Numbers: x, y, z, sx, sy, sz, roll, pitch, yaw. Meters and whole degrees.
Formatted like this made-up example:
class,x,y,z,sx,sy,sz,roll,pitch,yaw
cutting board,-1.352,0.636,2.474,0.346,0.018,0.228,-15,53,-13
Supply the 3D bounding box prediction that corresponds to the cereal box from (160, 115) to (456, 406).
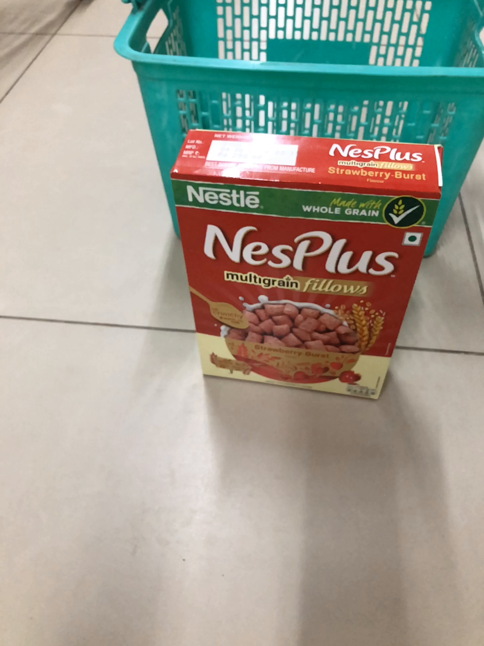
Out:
class,x,y,z,sx,sy,sz,roll,pitch,yaw
cereal box,0.048,-0.035,0.463,0.190,0.258,0.060,8,51,8
